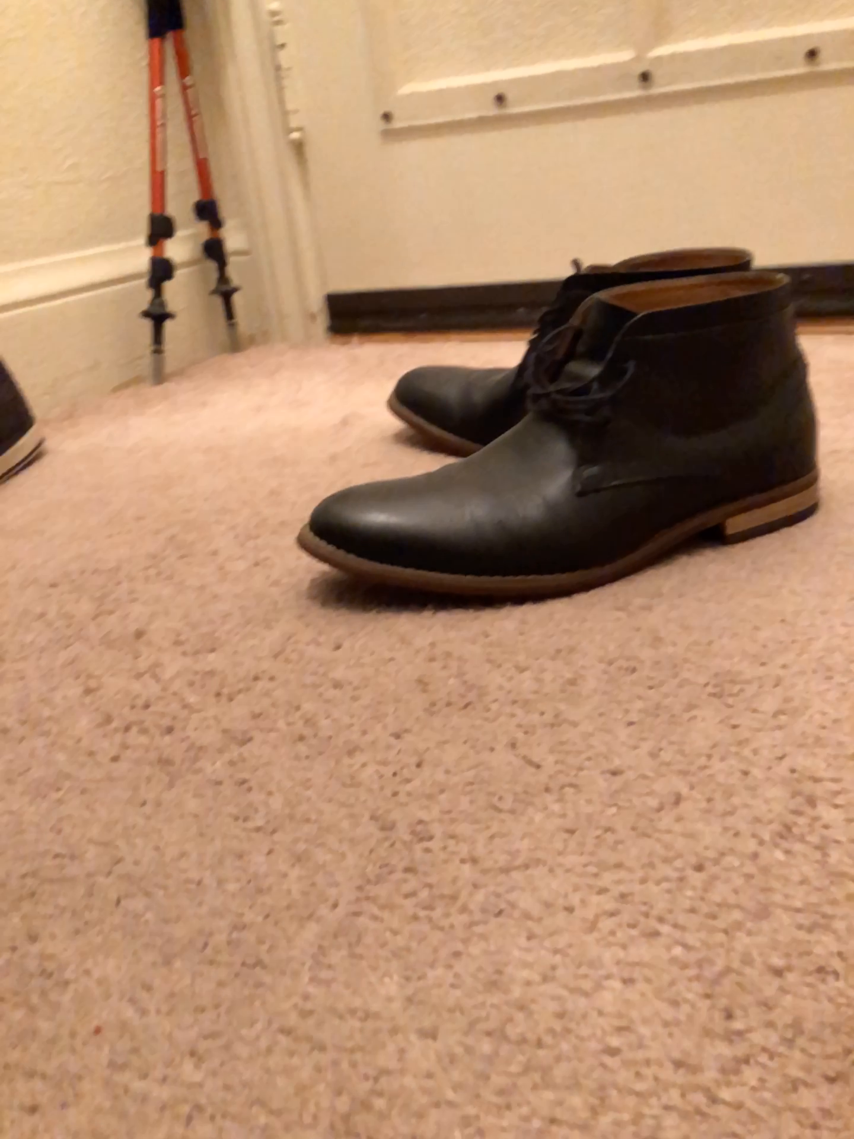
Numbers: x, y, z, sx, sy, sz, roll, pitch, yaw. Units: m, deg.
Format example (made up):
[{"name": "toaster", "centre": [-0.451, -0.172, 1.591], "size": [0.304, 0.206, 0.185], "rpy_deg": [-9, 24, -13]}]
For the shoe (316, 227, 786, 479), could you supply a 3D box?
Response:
[{"name": "shoe", "centre": [0.087, -0.158, 0.681], "size": [0.302, 0.135, 0.117], "rpy_deg": [7, 27, 28]}]

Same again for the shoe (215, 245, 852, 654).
[{"name": "shoe", "centre": [0.058, -0.078, 0.507], "size": [0.302, 0.135, 0.117], "rpy_deg": [-14, 25, -15]}]
